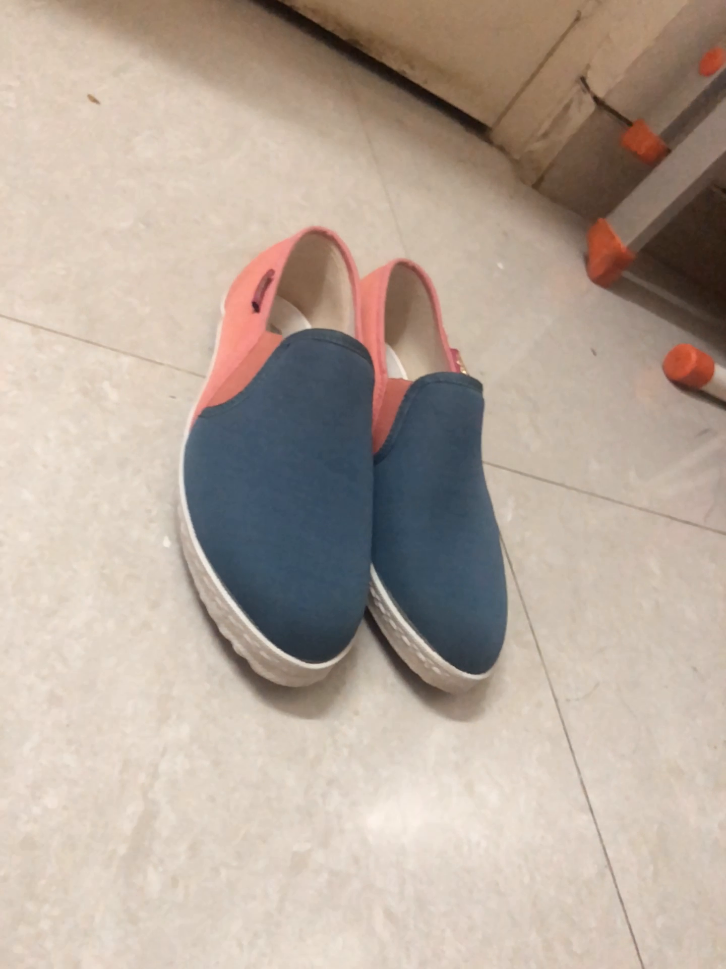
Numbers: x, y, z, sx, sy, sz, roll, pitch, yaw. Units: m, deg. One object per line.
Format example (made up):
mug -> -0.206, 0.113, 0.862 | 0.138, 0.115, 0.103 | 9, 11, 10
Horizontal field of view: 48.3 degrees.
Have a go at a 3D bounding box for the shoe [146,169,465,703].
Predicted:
shoe -> -0.031, -0.030, 0.343 | 0.090, 0.060, 0.221 | 18, 44, -29

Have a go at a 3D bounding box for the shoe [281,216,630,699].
shoe -> 0.031, -0.018, 0.378 | 0.090, 0.060, 0.221 | 13, 47, -34
